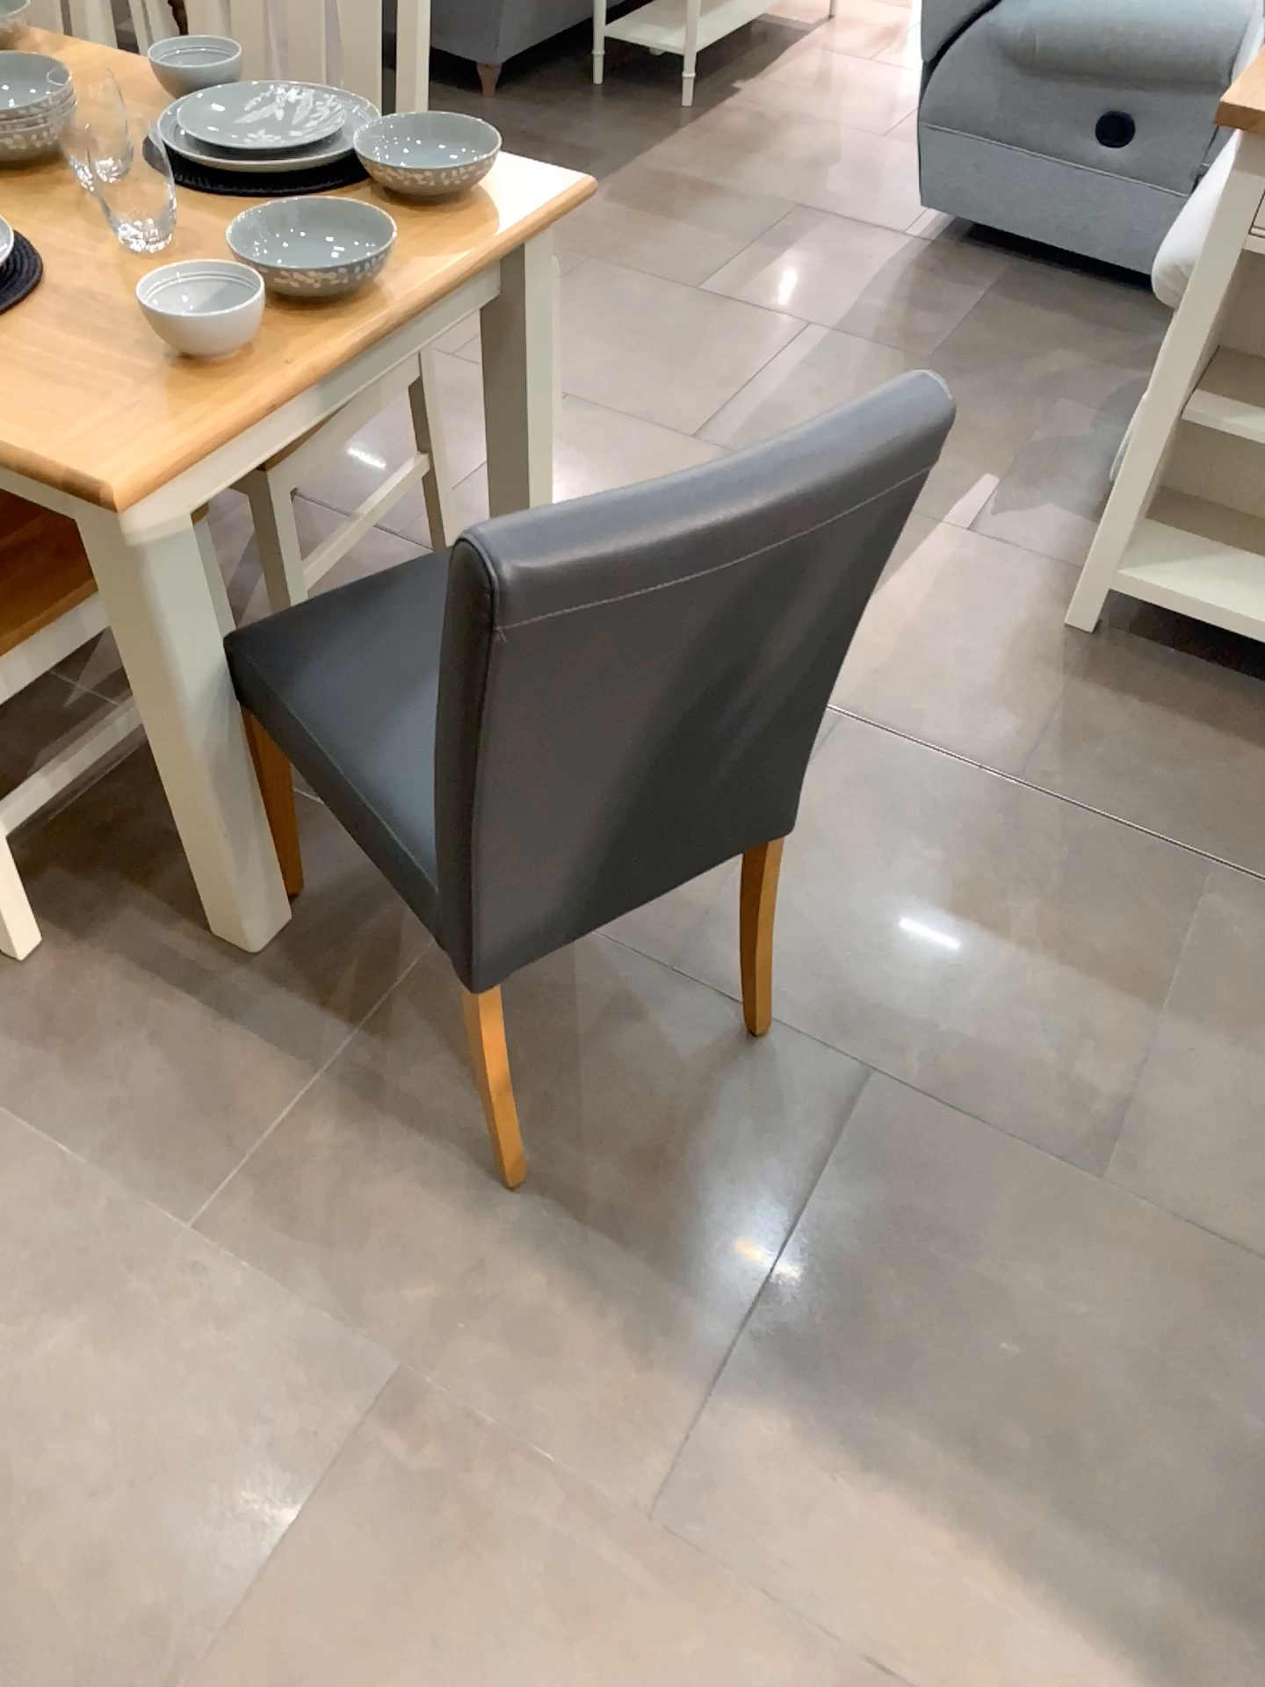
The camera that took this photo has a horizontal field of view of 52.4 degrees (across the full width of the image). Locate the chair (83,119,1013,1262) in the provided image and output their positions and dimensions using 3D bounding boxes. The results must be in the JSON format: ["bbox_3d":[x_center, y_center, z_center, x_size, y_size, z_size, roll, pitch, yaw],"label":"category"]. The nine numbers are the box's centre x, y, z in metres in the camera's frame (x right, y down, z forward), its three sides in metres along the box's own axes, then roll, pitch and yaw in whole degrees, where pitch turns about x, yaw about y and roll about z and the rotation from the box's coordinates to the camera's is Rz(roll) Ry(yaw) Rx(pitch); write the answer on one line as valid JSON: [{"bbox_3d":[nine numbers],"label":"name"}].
[{"bbox_3d":[-0.114,-0.137,1.376,0.477,0.906,0.653,-27,54,-25],"label":"chair"}]
